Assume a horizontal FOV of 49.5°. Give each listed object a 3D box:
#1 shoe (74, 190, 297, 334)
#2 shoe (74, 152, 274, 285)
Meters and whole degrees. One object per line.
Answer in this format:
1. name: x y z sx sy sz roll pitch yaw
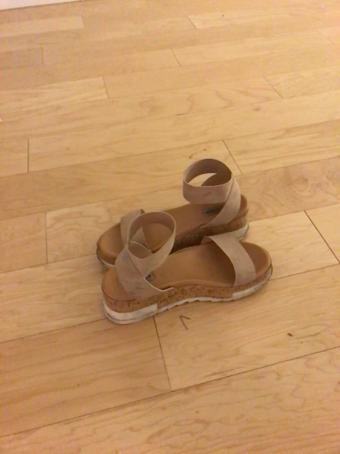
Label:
1. shoe: 0.017 0.048 0.534 0.280 0.109 0.111 -11 49 -8
2. shoe: 0.003 -0.016 0.594 0.280 0.119 0.111 -11 49 -8
